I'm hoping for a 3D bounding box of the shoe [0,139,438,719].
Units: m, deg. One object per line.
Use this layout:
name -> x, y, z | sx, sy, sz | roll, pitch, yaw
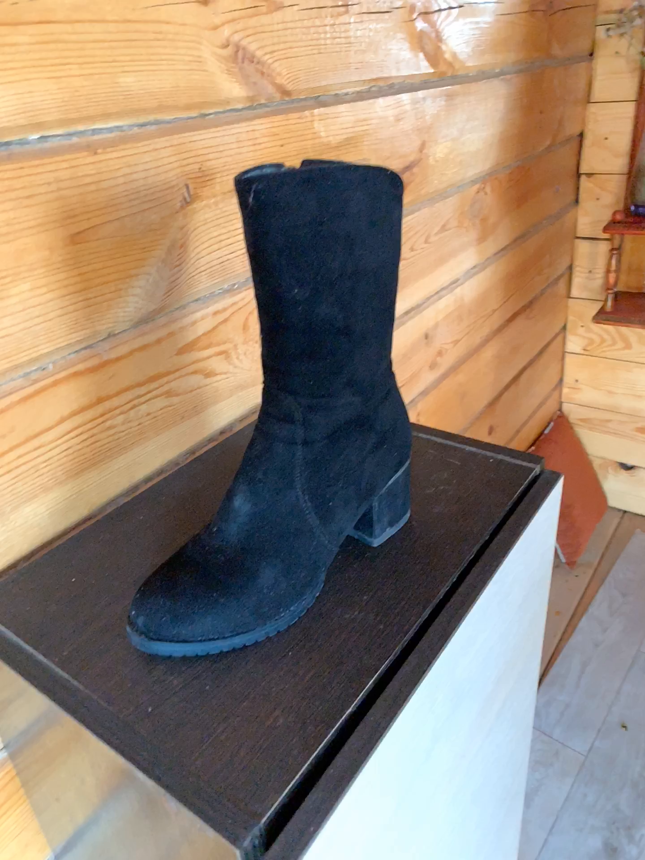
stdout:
shoe -> -0.036, -0.019, 0.407 | 0.100, 0.268, 0.233 | 19, 36, 39
